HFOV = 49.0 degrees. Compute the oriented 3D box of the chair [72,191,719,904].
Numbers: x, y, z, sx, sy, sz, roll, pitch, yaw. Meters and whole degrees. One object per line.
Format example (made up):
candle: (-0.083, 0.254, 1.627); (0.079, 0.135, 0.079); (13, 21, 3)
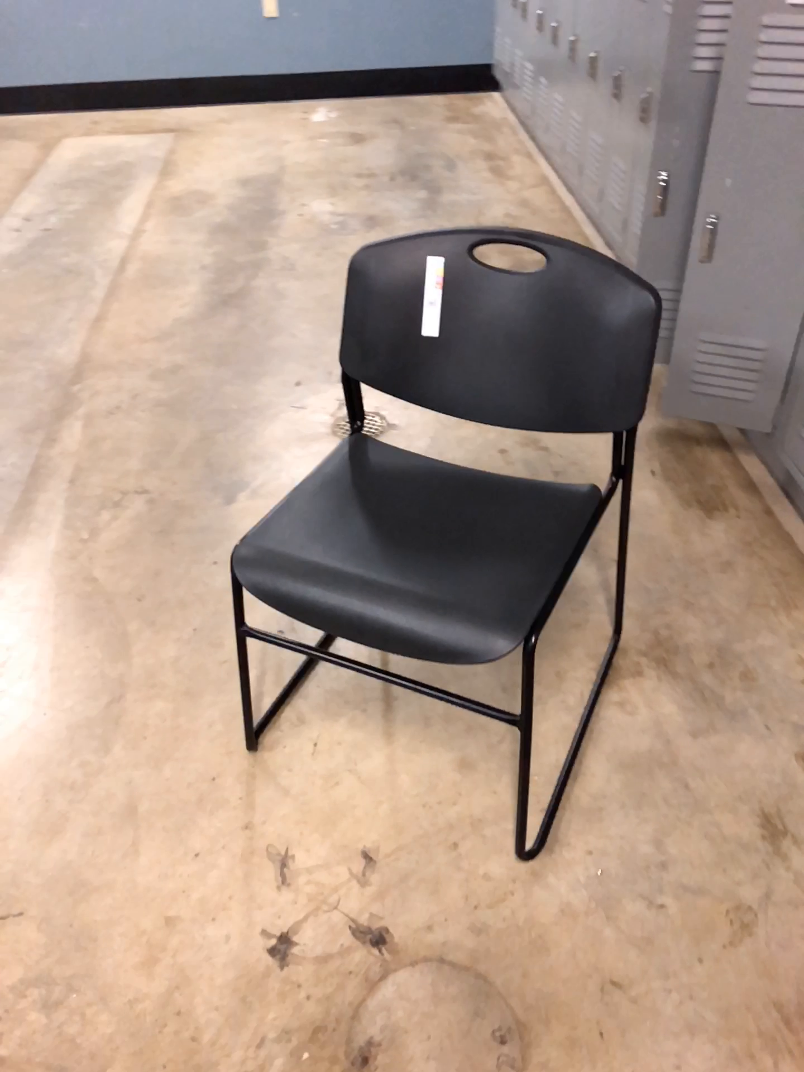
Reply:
chair: (0.038, -0.016, 1.203); (0.545, 0.665, 0.548); (15, 43, 21)
